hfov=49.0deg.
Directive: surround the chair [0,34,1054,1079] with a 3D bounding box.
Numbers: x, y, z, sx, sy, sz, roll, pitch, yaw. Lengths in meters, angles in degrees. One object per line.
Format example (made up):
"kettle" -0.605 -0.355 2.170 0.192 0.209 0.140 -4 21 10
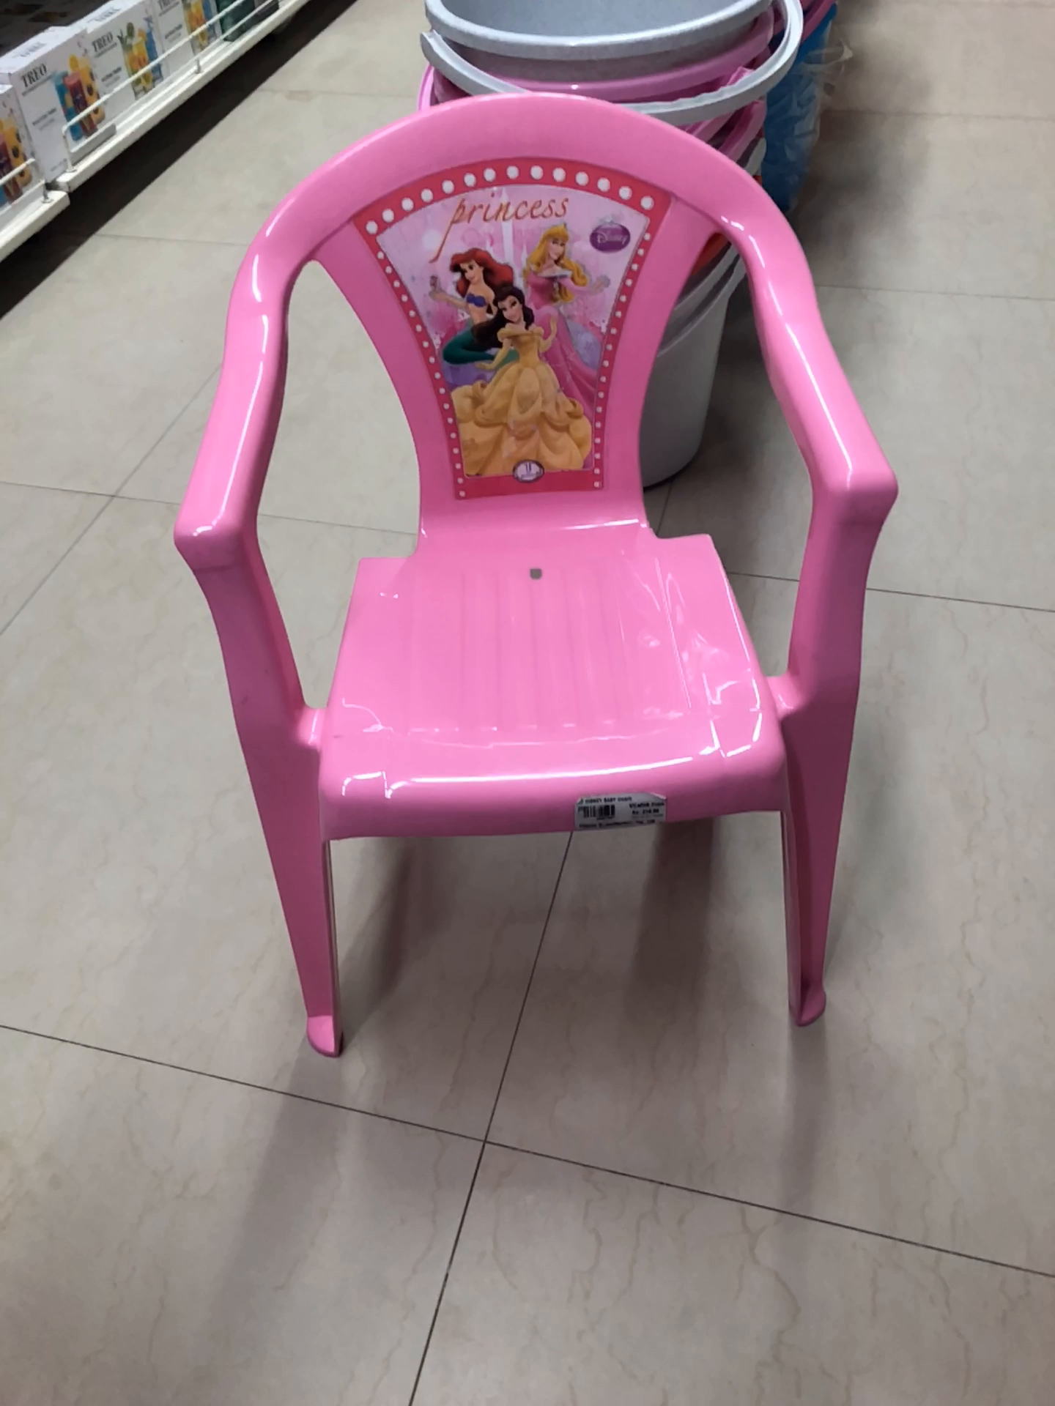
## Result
"chair" 0.004 -0.063 0.688 0.370 0.477 0.352 -4 46 1
